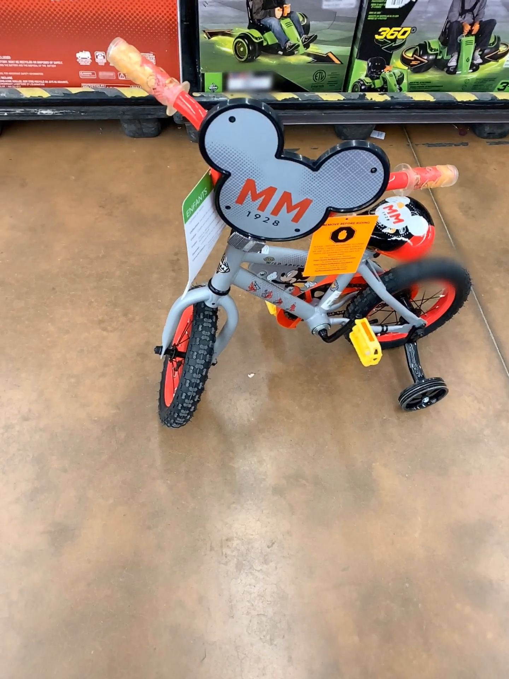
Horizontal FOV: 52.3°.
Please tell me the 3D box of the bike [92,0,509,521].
[{"bbox_3d":[0.129,-0.127,0.941,0.641,0.689,0.453,-19,58,-13],"label":"bike"}]
